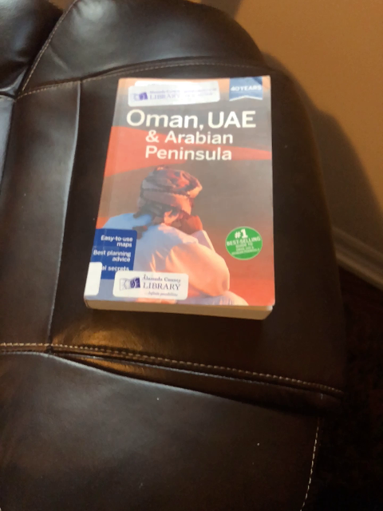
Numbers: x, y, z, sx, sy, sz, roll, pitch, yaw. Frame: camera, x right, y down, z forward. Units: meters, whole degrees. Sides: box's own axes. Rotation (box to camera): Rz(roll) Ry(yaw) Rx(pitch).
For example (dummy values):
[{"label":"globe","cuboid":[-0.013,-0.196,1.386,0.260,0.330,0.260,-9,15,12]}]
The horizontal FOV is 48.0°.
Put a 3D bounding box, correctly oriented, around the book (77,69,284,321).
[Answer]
[{"label":"book","cuboid":[-0.003,-0.055,0.335,0.137,0.030,0.203,2,68,2]}]
